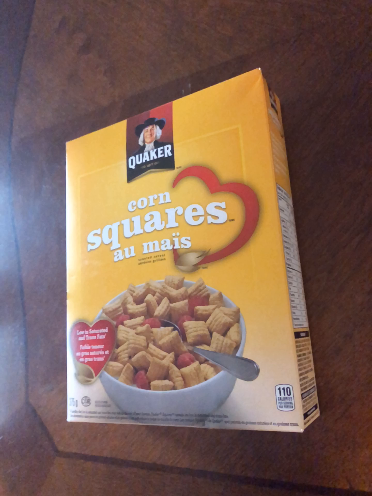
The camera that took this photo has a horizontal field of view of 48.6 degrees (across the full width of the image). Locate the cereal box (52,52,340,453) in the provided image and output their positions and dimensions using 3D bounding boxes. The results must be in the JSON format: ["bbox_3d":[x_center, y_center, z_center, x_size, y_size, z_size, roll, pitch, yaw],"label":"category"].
[{"bbox_3d":[-0.011,0.010,0.342,0.221,0.050,0.270,-10,76,26],"label":"cereal box"}]
